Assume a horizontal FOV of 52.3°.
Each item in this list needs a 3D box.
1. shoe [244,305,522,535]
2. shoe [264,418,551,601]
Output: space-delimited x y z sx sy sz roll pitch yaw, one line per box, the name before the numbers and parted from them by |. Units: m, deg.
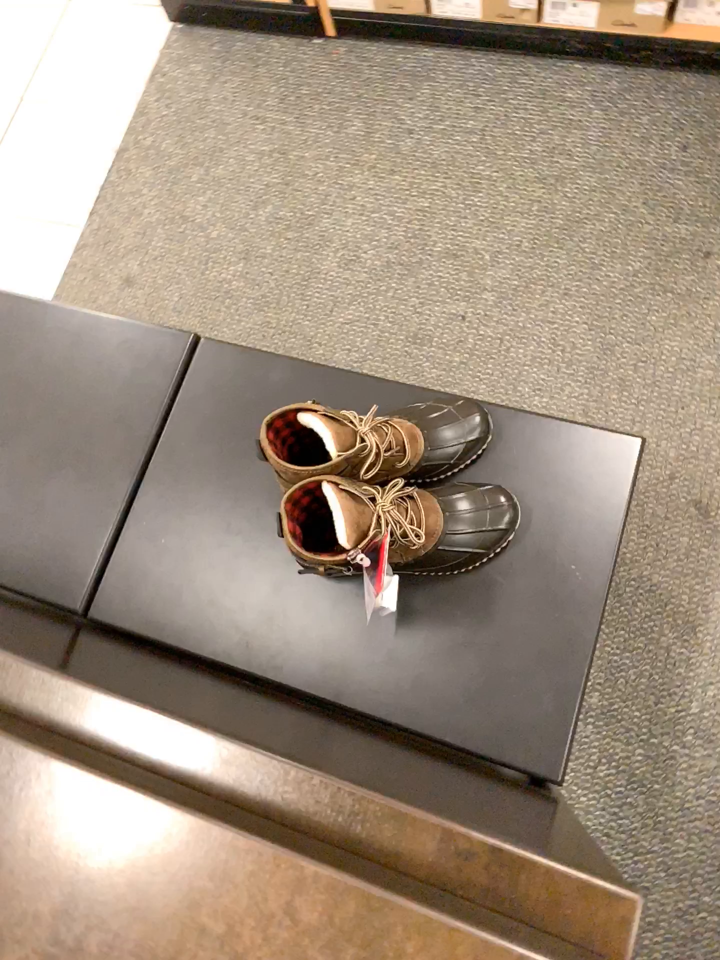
shoe | 0.030 -0.052 0.751 0.240 0.150 0.100 -23 71 3
shoe | 0.049 0.038 0.714 0.240 0.150 0.100 -11 72 7
